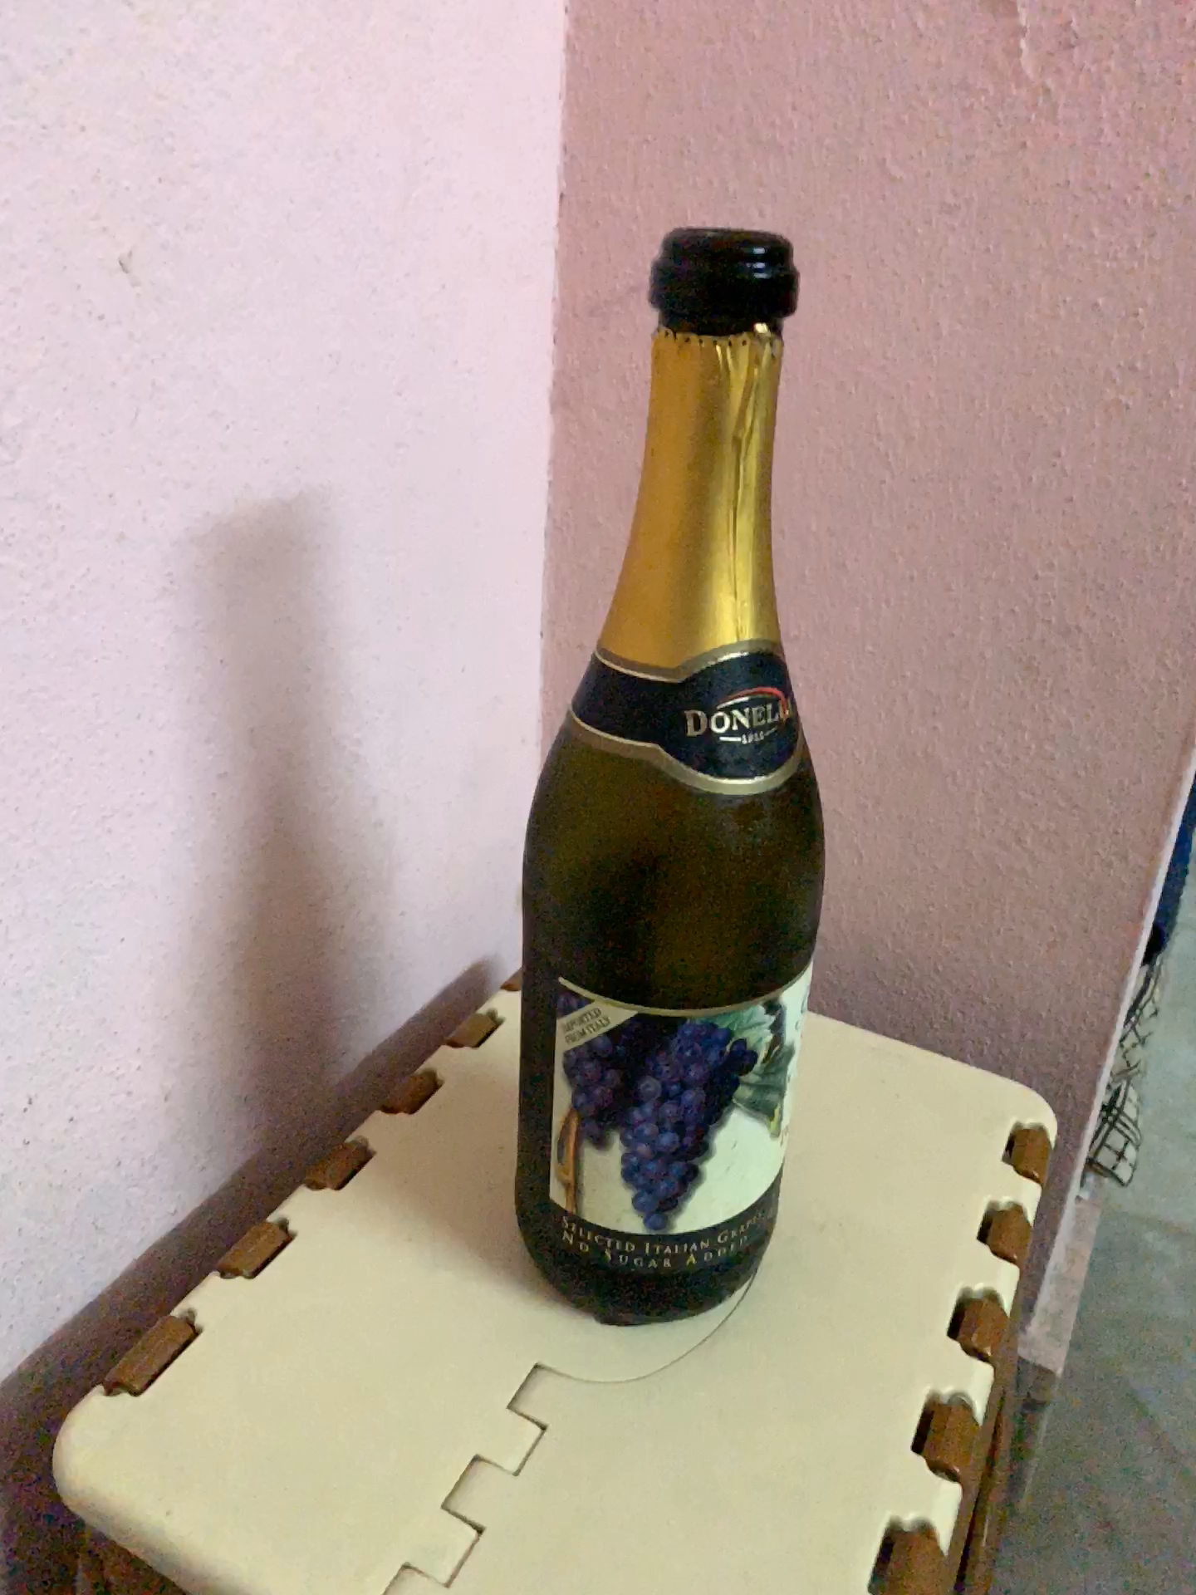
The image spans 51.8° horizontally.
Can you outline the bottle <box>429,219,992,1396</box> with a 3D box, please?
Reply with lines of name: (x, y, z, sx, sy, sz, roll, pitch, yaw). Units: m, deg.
bottle: (0.015, 0.011, 0.312, 0.090, 0.279, 0.070, -13, 31, -29)
